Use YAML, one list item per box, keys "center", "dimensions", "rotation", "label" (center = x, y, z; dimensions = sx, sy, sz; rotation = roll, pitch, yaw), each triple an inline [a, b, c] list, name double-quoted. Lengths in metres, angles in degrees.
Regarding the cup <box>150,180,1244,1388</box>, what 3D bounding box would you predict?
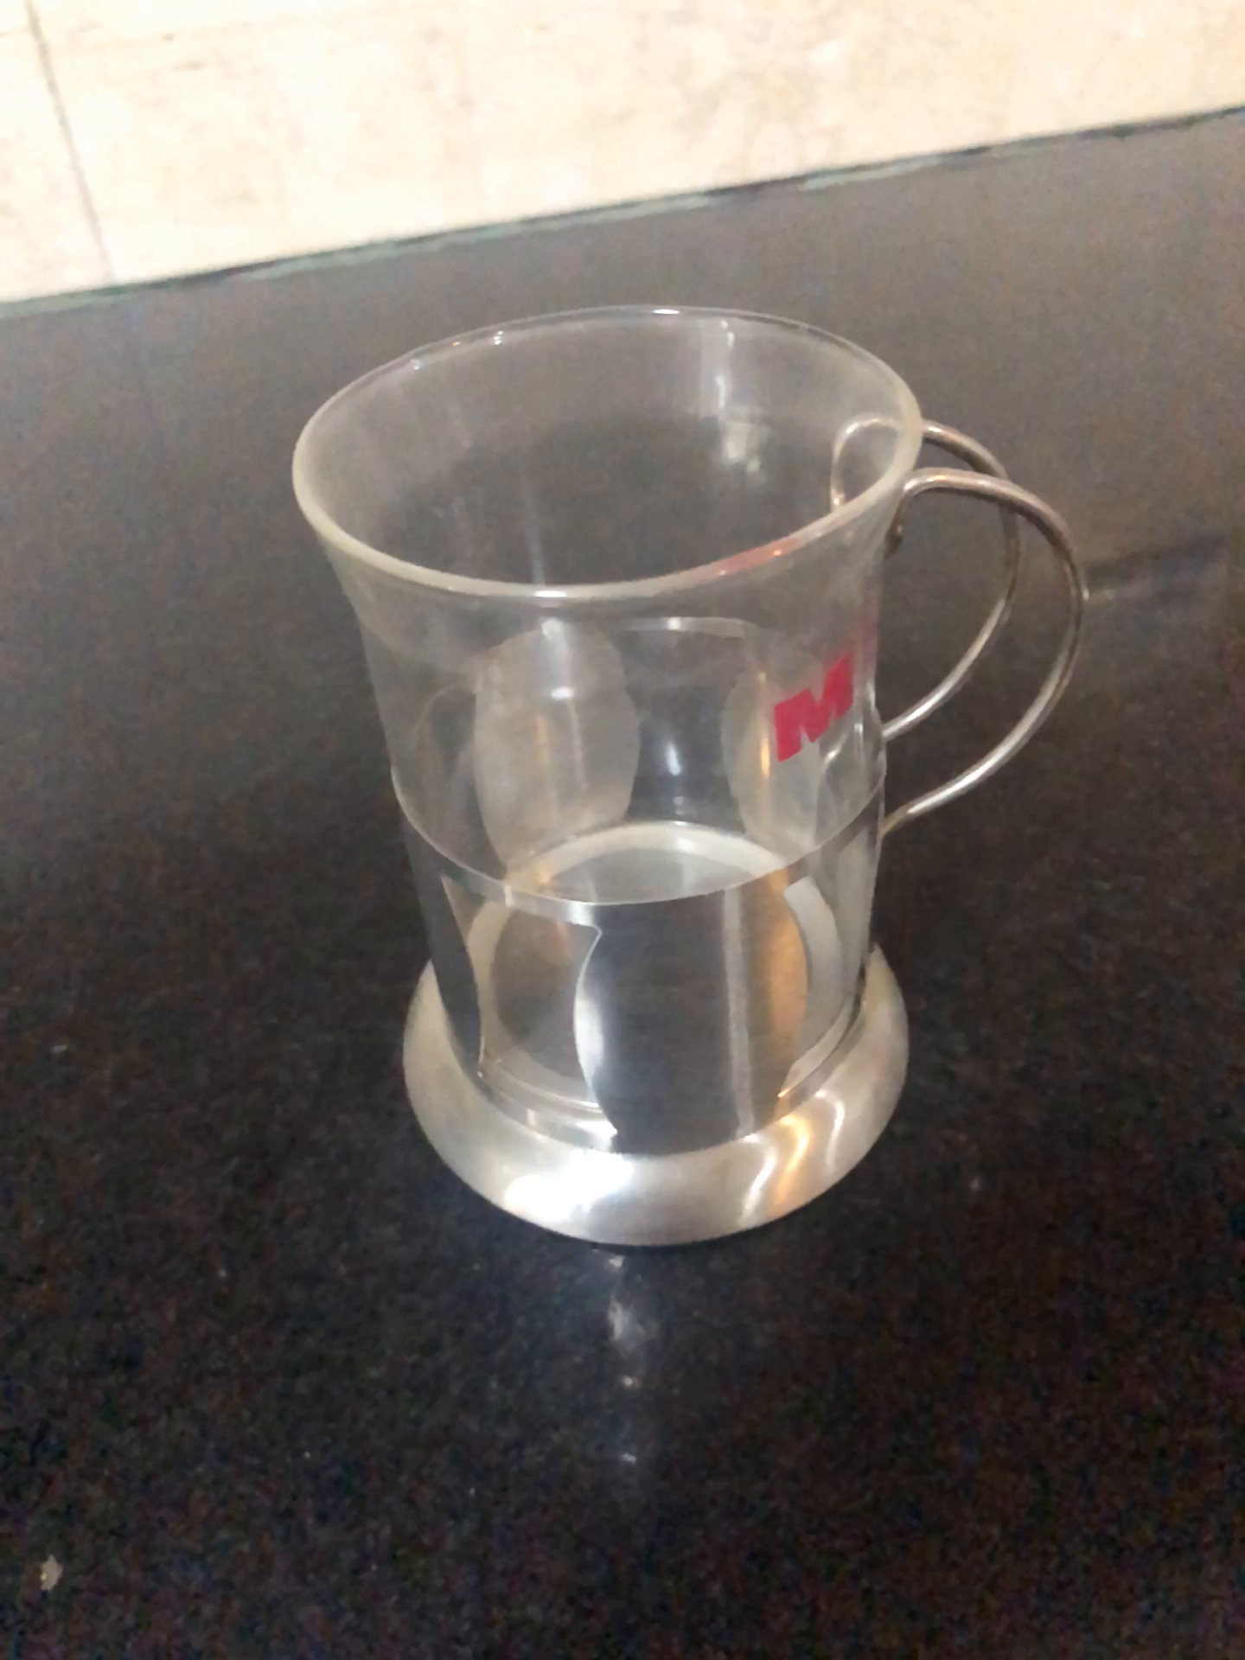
- center: [0.011, -0.008, 0.183]
  dimensions: [0.110, 0.109, 0.081]
  rotation: [-14, 41, -10]
  label: "cup"
